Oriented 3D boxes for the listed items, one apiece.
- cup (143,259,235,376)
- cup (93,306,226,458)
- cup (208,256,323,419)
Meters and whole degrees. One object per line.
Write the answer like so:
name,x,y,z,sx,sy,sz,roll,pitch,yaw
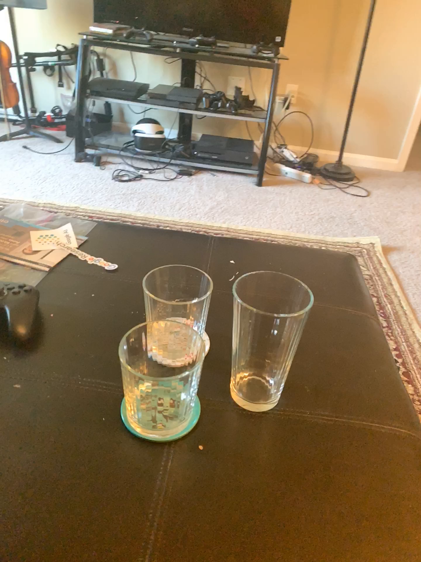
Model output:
cup,-0.032,0.048,0.593,0.090,0.109,0.080,22,36,23
cup,-0.054,0.103,0.462,0.100,0.089,0.090,22,36,23
cup,0.060,0.063,0.495,0.080,0.139,0.090,22,36,23
